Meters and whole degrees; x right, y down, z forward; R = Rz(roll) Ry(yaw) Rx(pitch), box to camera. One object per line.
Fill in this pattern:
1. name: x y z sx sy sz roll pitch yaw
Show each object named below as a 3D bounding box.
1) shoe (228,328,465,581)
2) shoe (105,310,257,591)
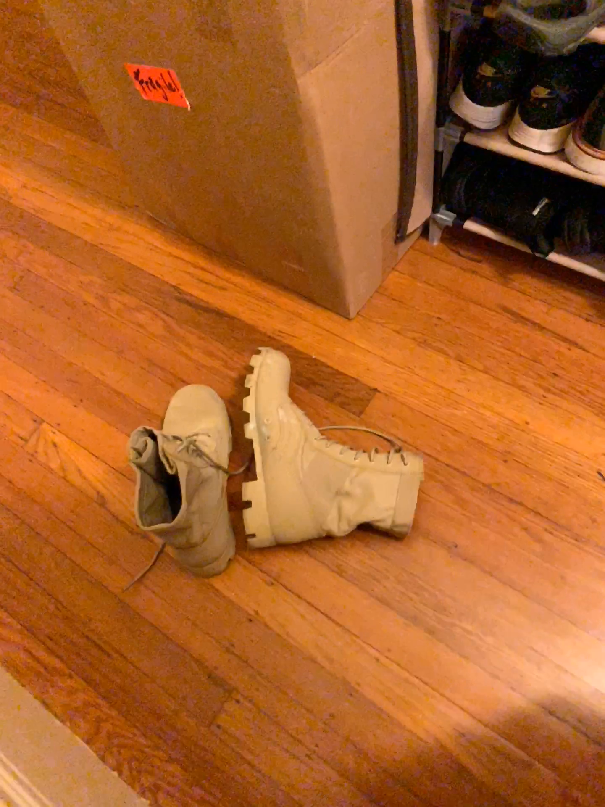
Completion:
1. shoe: 0.045 0.064 0.825 0.260 0.110 0.291 -6 63 -1
2. shoe: -0.153 0.066 0.793 0.120 0.199 0.291 -11 63 4
